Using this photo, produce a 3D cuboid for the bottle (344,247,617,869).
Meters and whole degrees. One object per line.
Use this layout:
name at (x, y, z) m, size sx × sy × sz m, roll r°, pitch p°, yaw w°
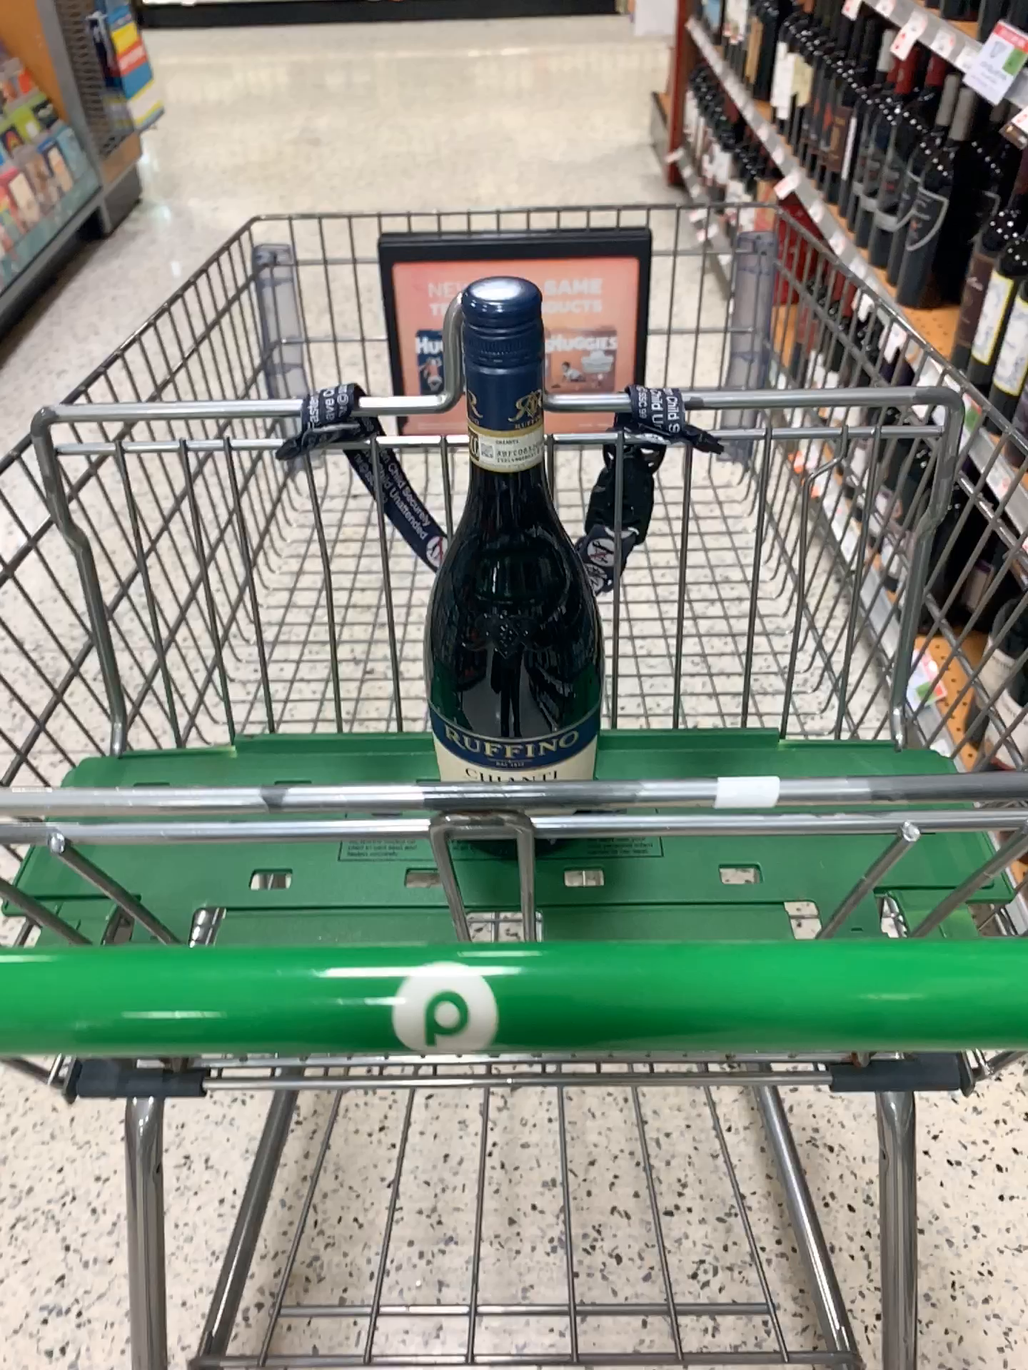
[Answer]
bottle at (-0.007, -0.041, 0.471) m, size 0.090 × 0.267 × 0.091 m, roll -1°, pitch 41°, yaw 1°
